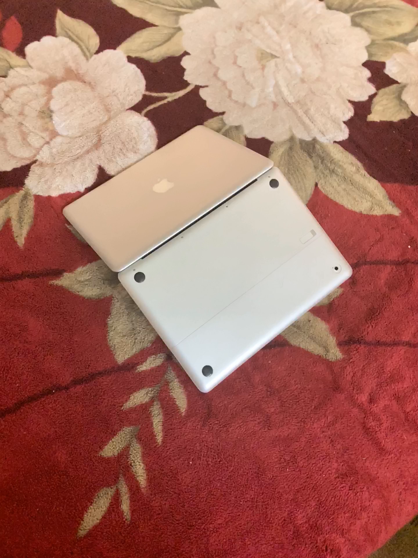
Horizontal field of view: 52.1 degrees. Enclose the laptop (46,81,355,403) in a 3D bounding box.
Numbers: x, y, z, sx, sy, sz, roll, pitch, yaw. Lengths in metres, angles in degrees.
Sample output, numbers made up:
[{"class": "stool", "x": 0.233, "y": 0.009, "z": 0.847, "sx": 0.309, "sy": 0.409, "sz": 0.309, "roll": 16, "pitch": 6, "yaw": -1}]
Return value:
[{"class": "laptop", "x": 0.001, "y": -0.064, "z": 0.699, "sx": 0.316, "sy": 0.078, "sz": 0.390, "roll": -36, "pitch": 88, "yaw": -15}]
